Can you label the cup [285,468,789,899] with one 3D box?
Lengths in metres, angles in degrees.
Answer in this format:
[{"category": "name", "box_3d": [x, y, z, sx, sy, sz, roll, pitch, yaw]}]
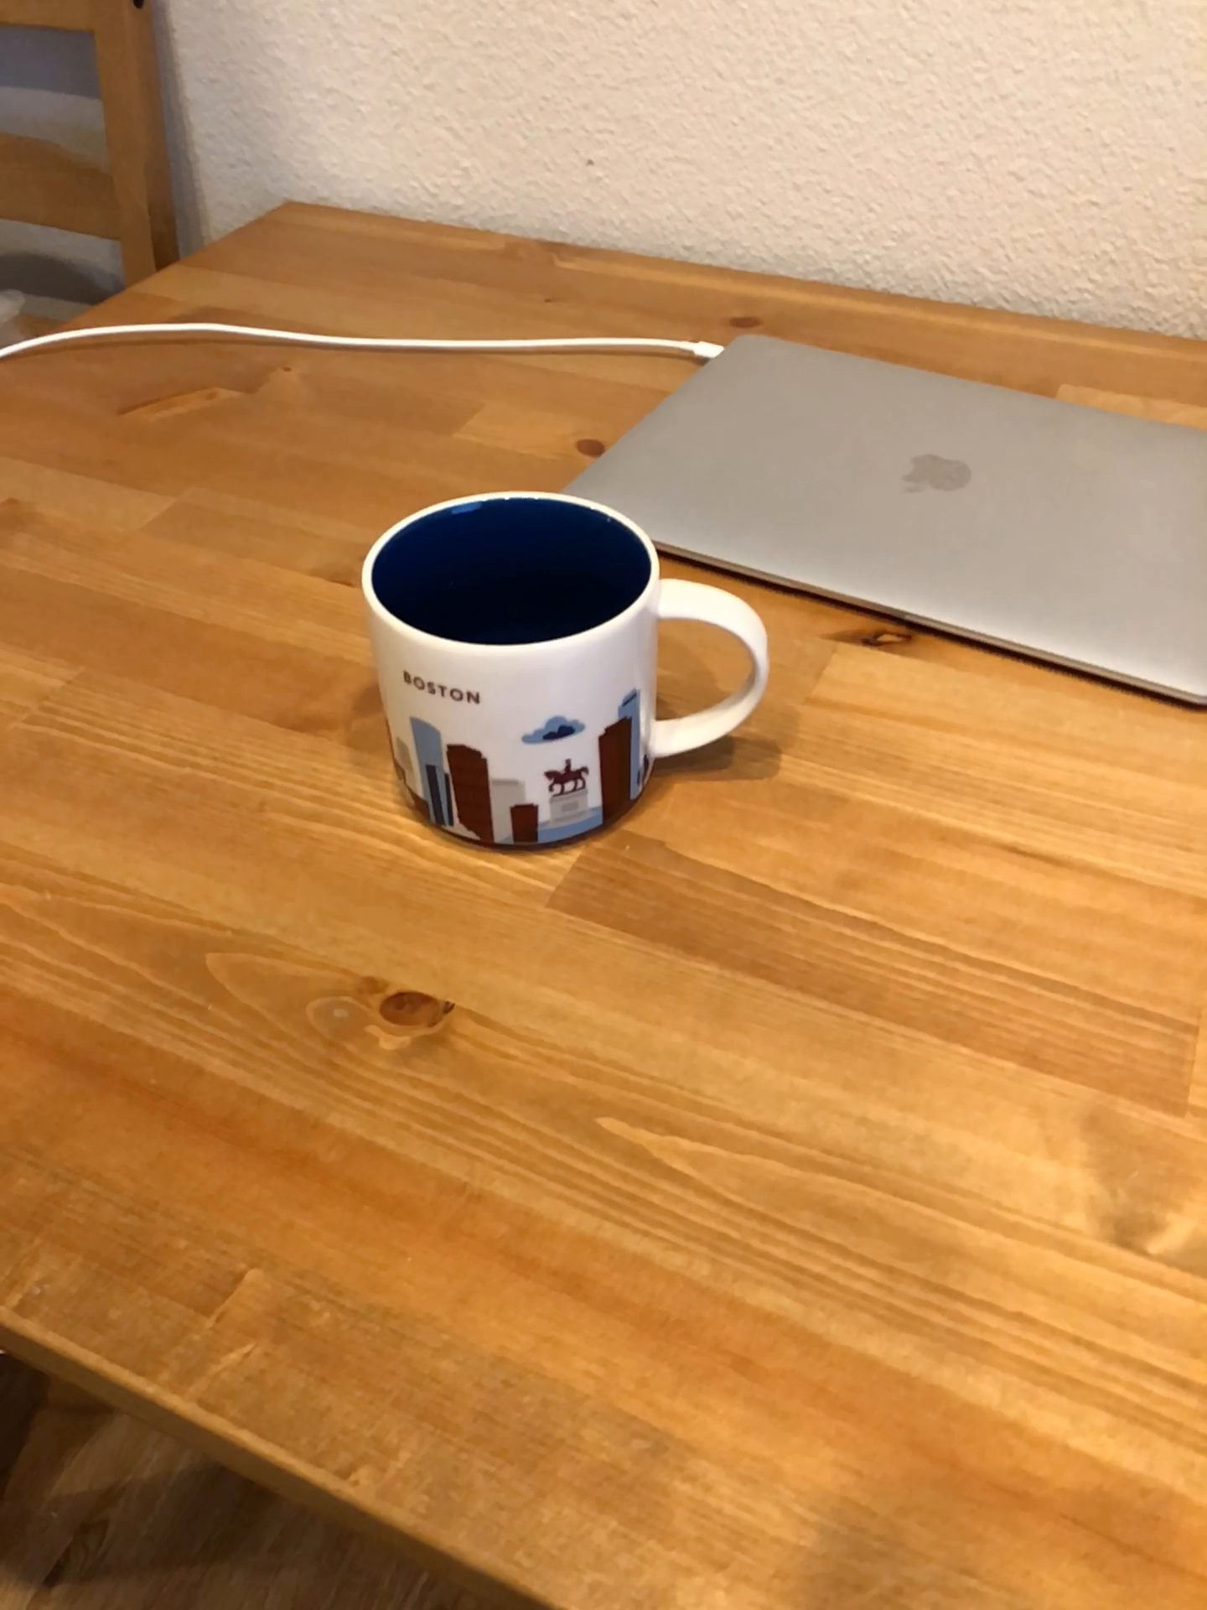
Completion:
[{"category": "cup", "box_3d": [-0.016, -0.045, 0.457, 0.140, 0.090, 0.100, 8, 42, 10]}]
